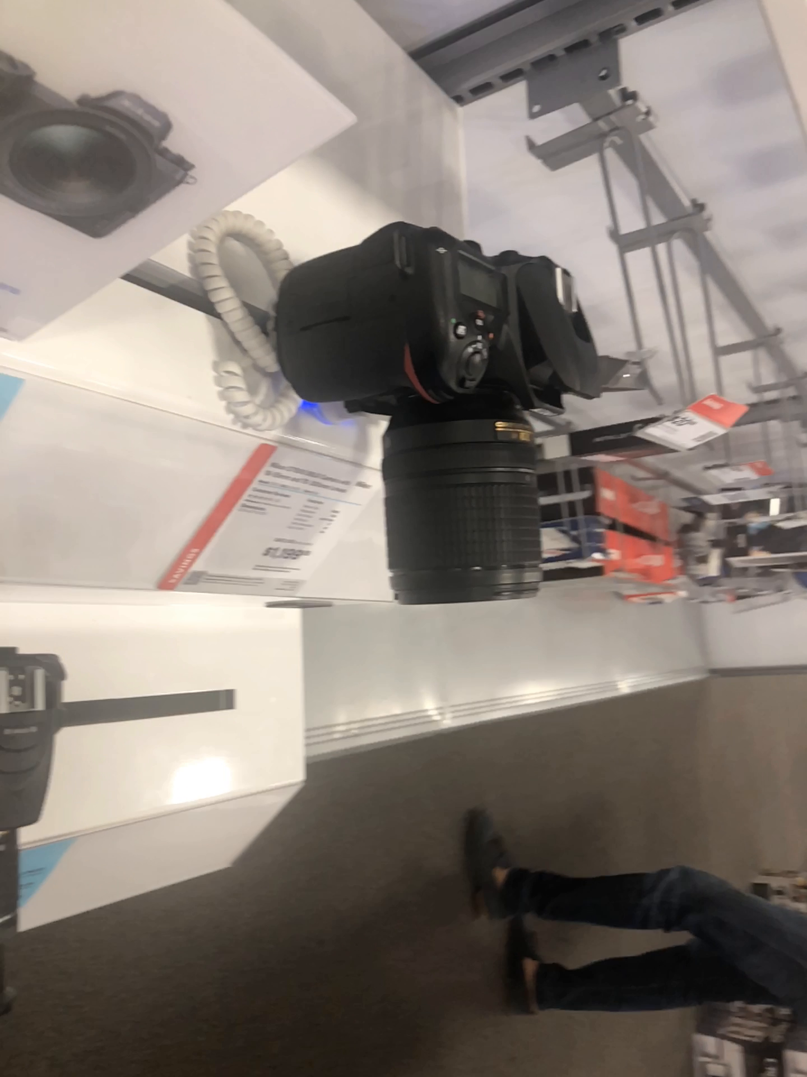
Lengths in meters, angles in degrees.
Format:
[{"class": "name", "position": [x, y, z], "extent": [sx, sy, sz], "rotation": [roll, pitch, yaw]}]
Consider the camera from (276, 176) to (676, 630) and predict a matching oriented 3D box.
[{"class": "camera", "position": [0.042, -0.047, 0.419], "extent": [0.161, 0.109, 0.160], "rotation": [1, 83, -58]}]
